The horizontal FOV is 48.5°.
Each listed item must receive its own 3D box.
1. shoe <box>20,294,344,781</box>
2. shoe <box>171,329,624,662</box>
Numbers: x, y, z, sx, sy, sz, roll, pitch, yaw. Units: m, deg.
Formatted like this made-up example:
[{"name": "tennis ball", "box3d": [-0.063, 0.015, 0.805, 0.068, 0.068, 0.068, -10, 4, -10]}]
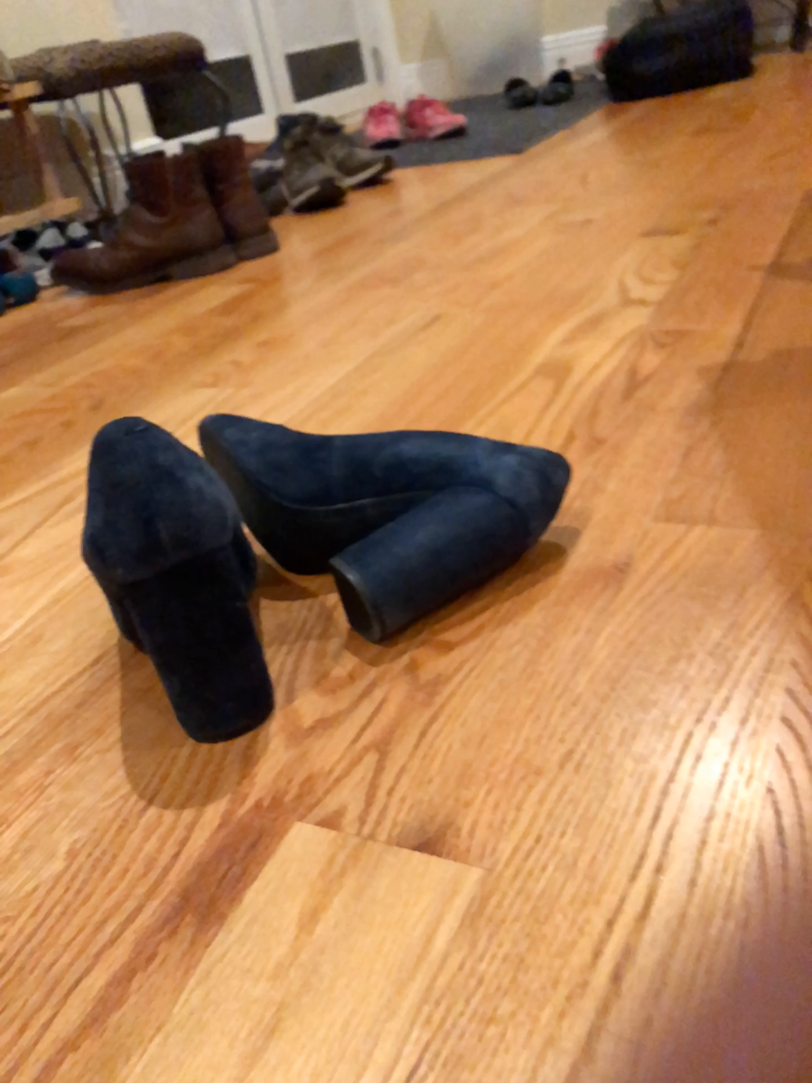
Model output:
[{"name": "shoe", "box3d": [-0.120, -0.021, 0.446, 0.080, 0.146, 0.227, -20, 30, -15]}, {"name": "shoe", "box3d": [-0.011, -0.042, 0.503, 0.152, 0.080, 0.205, -28, 32, -26]}]
